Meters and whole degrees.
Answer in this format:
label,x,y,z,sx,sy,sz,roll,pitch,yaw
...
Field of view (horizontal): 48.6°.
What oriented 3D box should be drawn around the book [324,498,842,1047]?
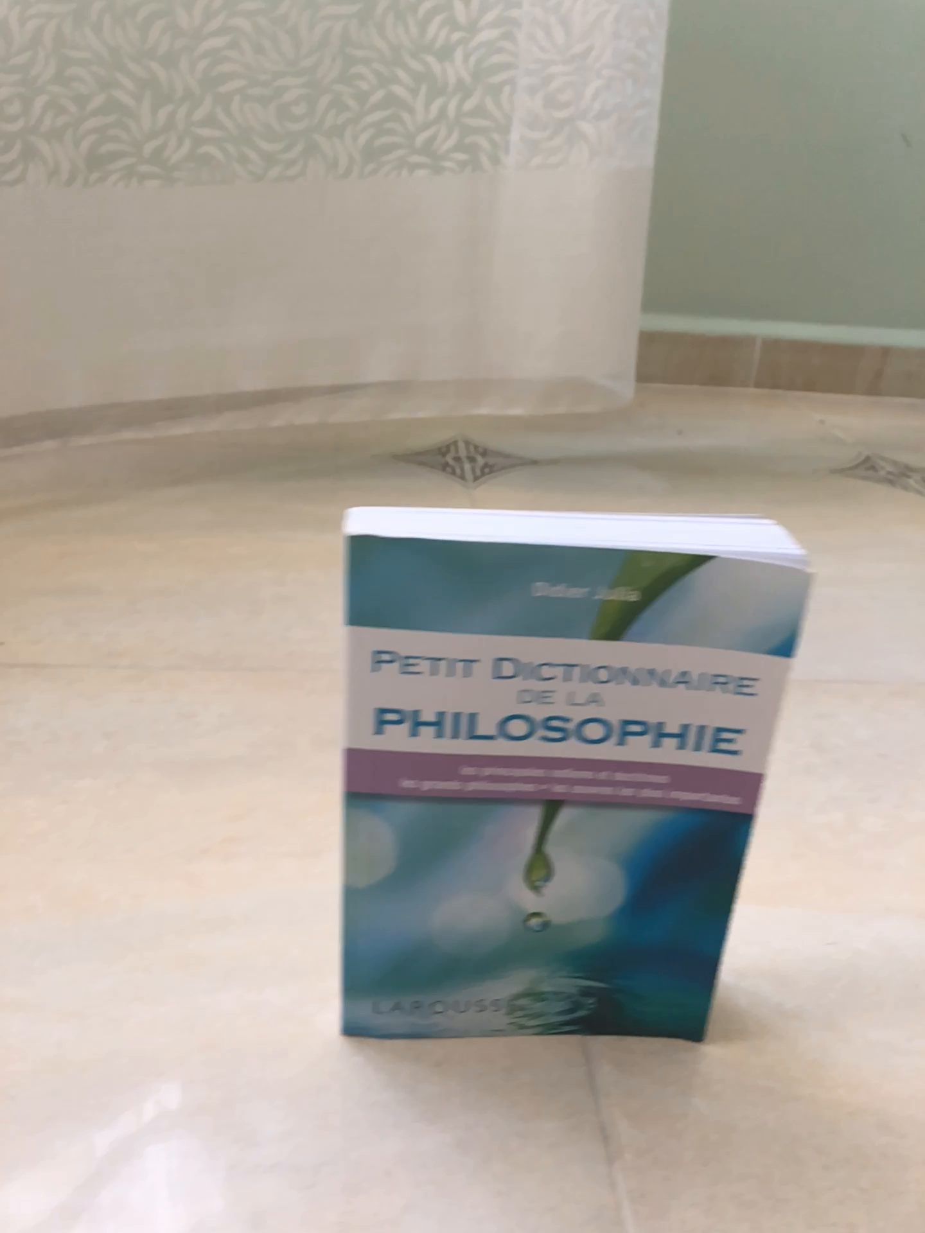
label,x,y,z,sx,sy,sz,roll,pitch,yaw
book,0.028,0.058,0.331,0.140,0.185,0.035,2,26,-3
